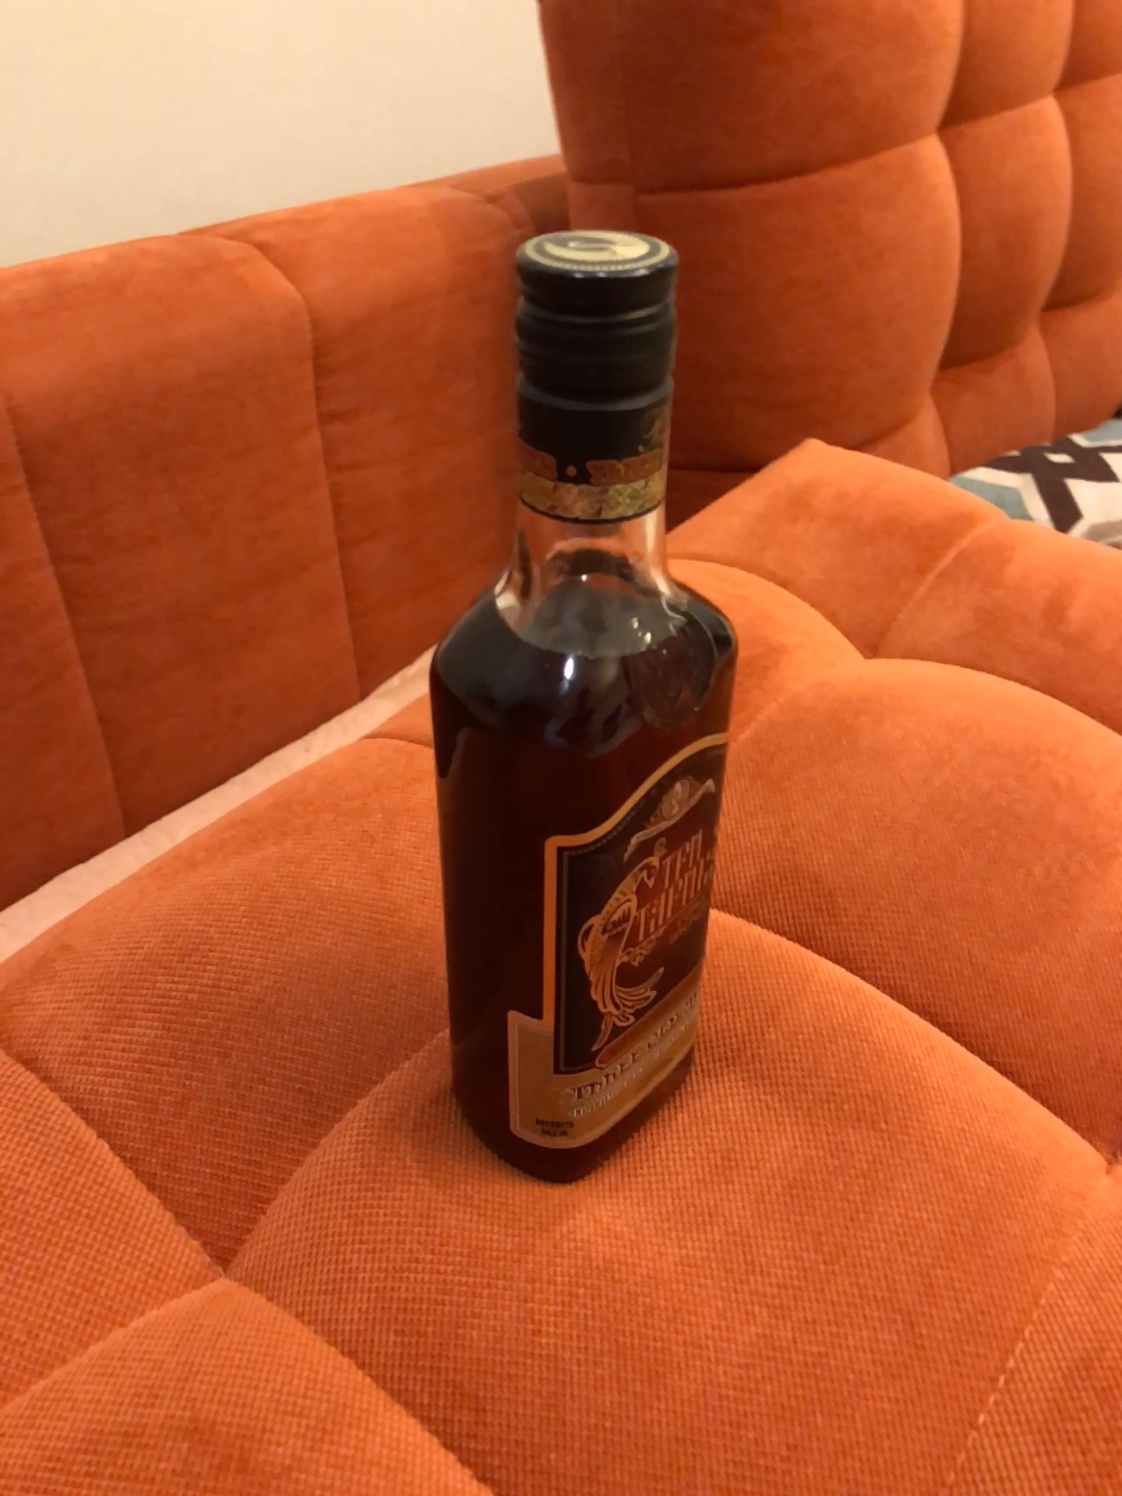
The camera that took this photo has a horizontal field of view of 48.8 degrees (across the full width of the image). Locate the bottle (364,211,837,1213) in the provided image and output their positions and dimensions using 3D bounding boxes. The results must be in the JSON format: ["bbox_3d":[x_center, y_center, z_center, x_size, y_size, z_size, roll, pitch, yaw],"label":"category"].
[{"bbox_3d":[0.008,0.004,0.306,0.056,0.237,0.074,28,44,32],"label":"bottle"}]
